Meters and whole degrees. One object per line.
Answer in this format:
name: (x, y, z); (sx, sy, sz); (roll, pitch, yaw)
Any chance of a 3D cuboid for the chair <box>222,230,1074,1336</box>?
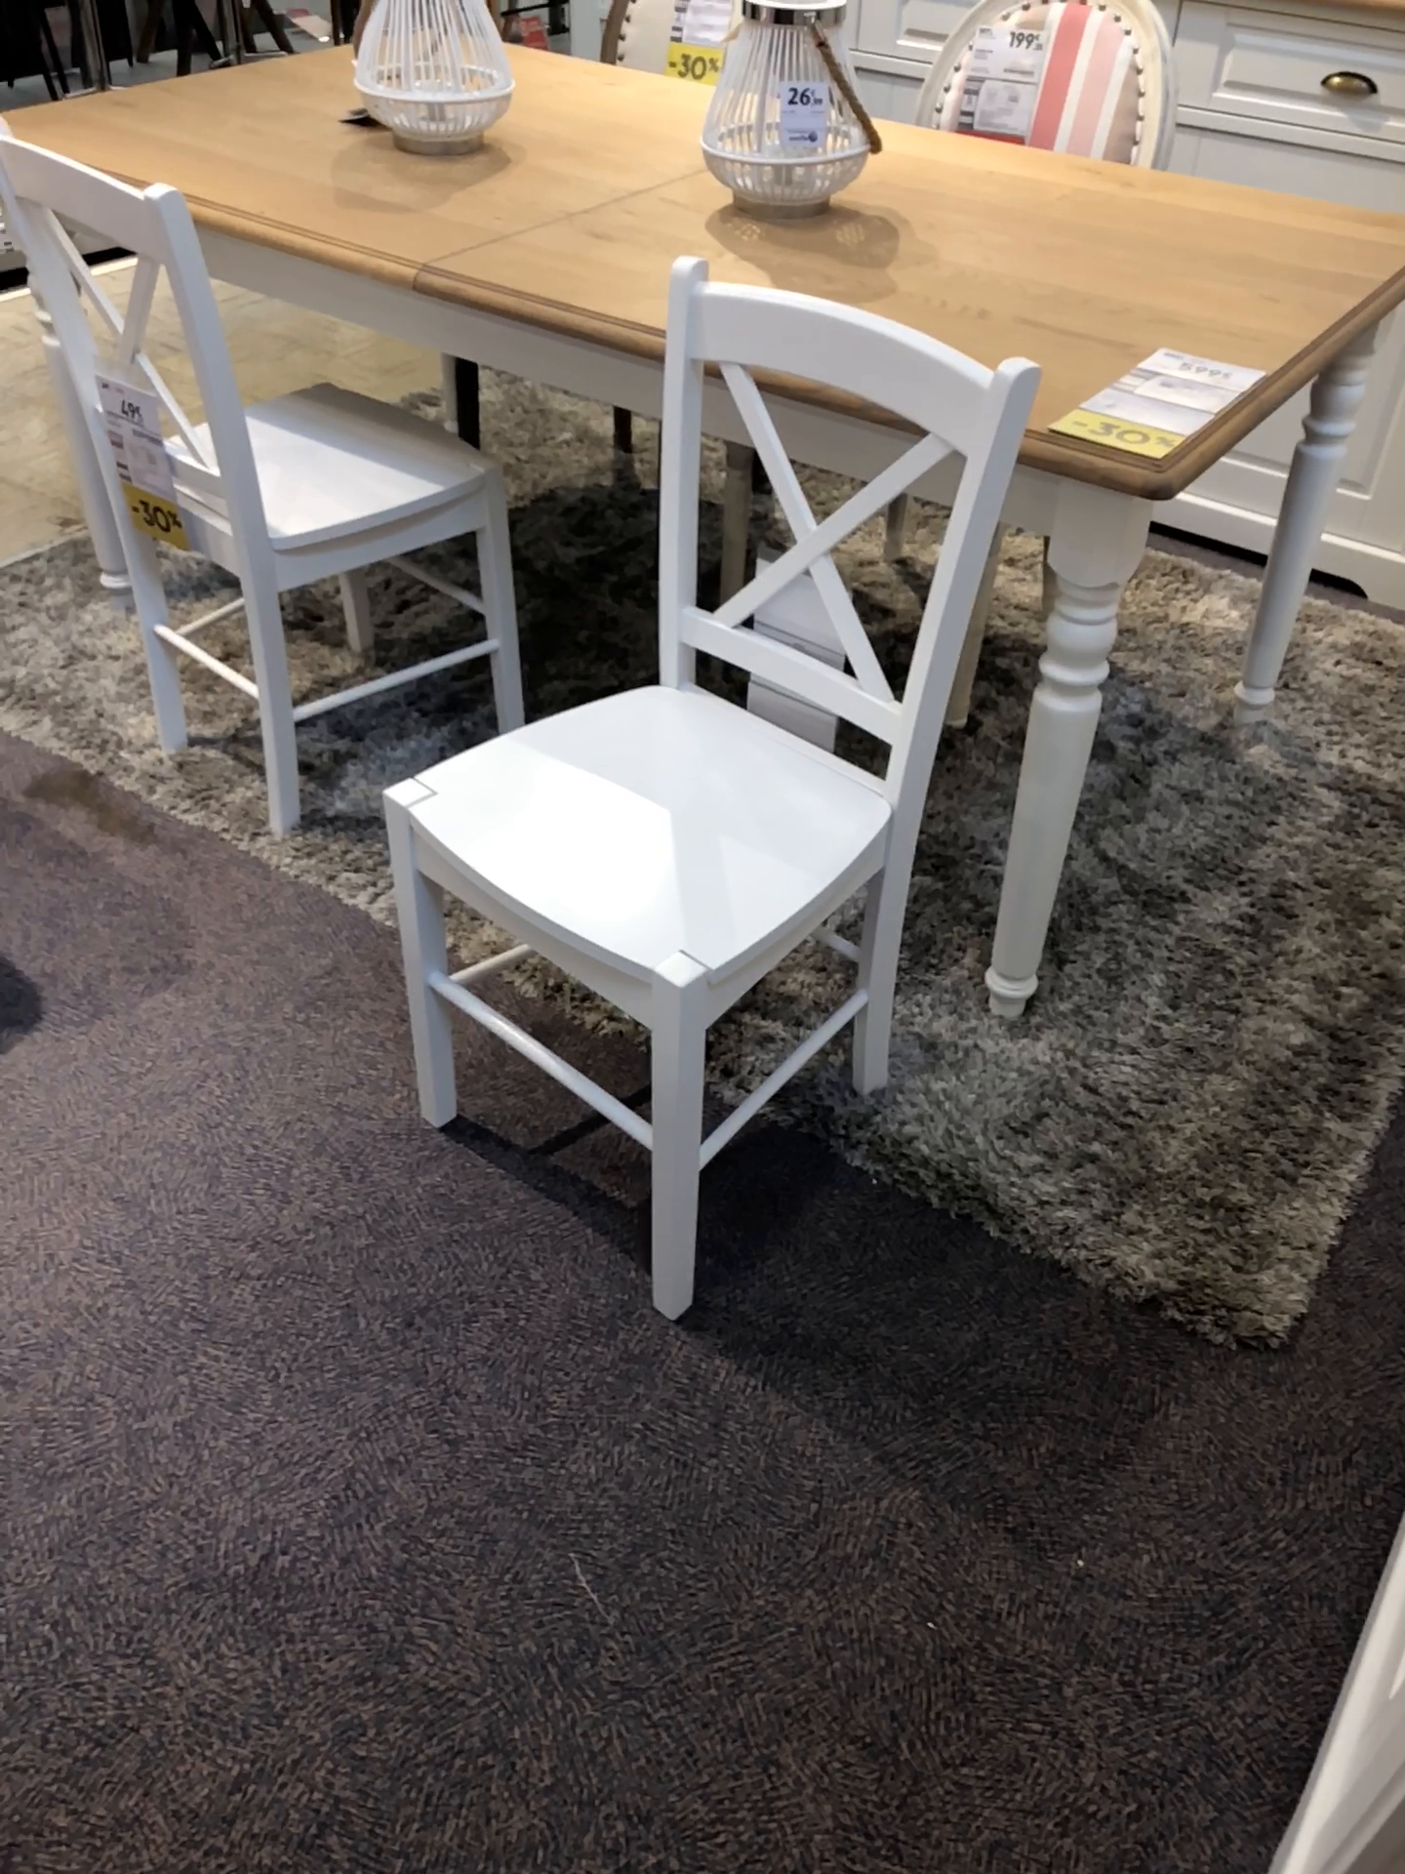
chair: (-0.047, -0.145, 1.421); (0.460, 0.785, 0.463); (30, 46, 30)
